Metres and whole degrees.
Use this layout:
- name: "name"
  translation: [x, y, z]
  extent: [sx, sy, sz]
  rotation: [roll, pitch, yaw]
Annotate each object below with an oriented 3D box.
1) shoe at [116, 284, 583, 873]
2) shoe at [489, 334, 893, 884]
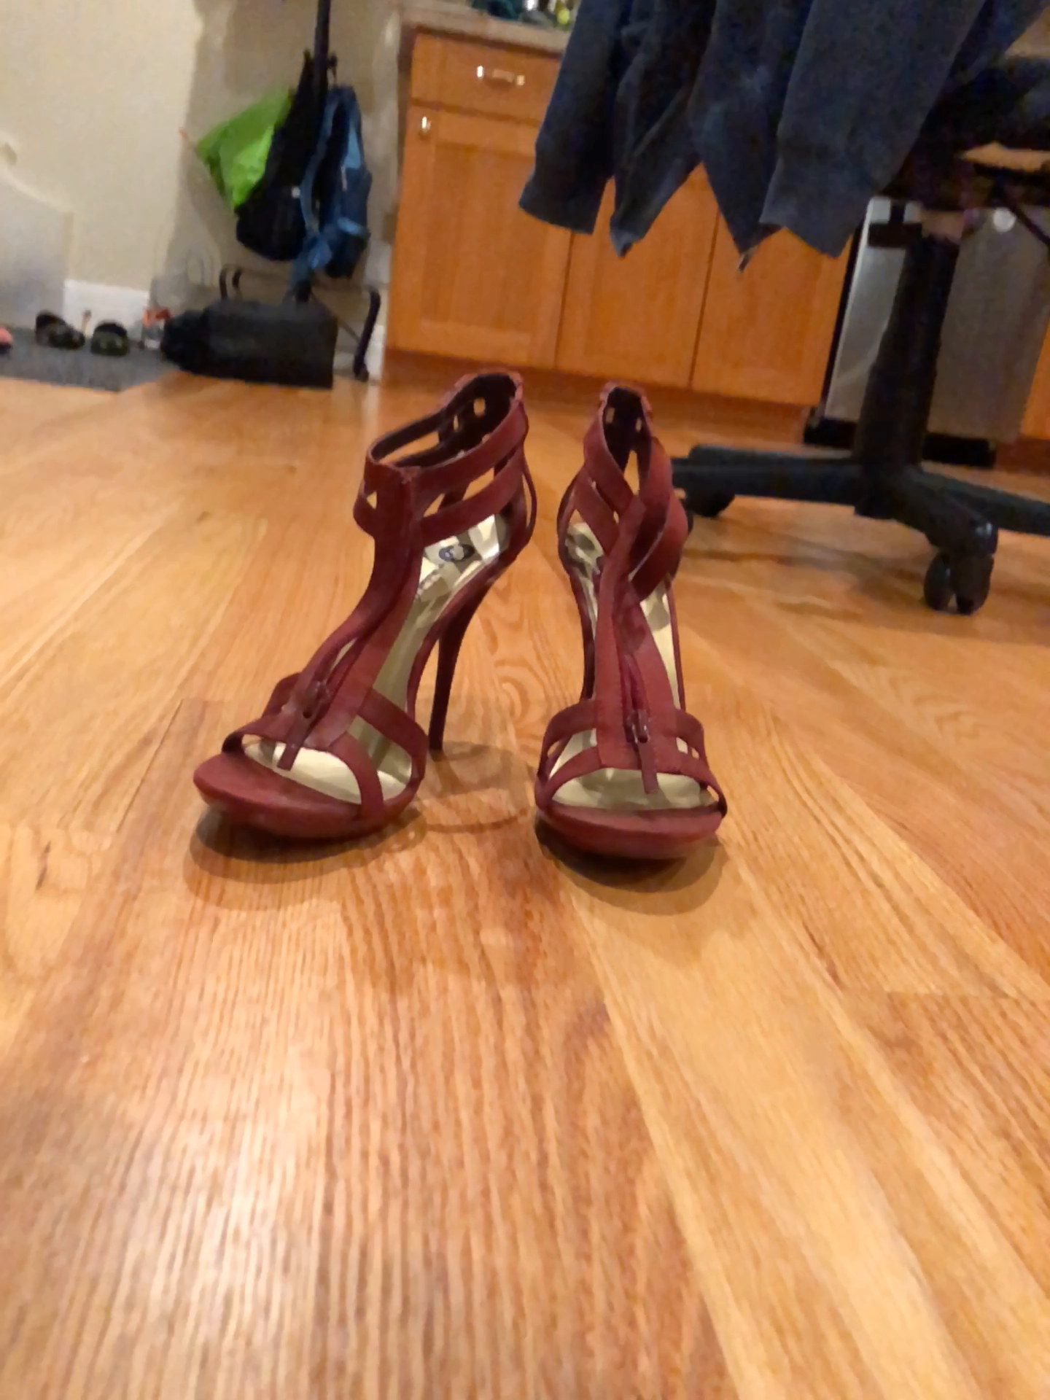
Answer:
- name: "shoe"
  translation: [-0.059, -0.059, 0.460]
  extent: [0.085, 0.175, 0.200]
  rotation: [13, 18, 16]
- name: "shoe"
  translation: [0.049, -0.053, 0.480]
  extent: [0.085, 0.175, 0.207]
  rotation: [5, 17, -10]
